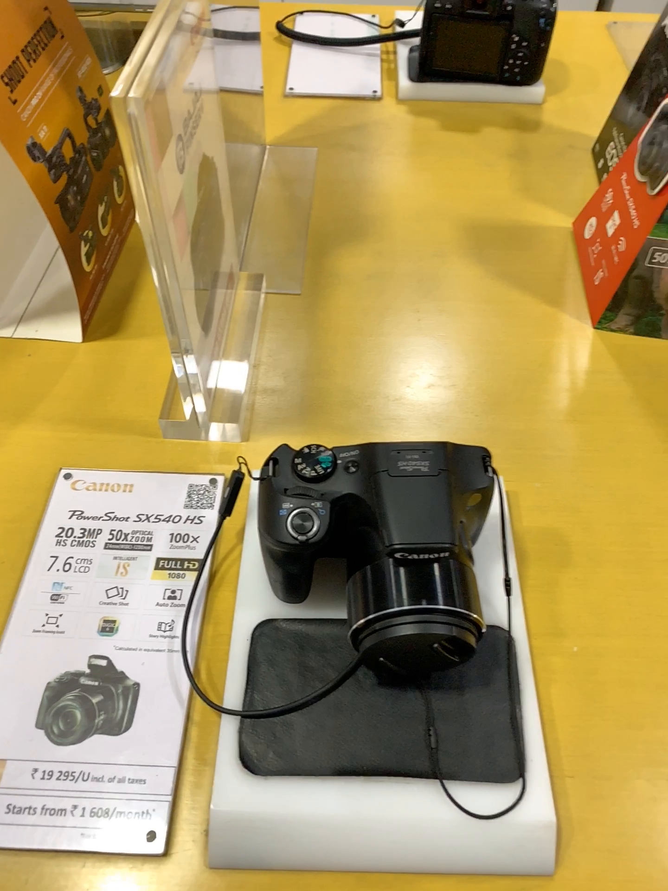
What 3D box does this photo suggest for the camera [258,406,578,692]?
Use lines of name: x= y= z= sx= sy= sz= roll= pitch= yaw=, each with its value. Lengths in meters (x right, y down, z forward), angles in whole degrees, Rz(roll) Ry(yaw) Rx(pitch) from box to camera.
camera: x=0.030 y=0.046 z=0.317 sx=0.120 sy=0.070 sz=0.110 roll=0 pitch=52 yaw=-1
